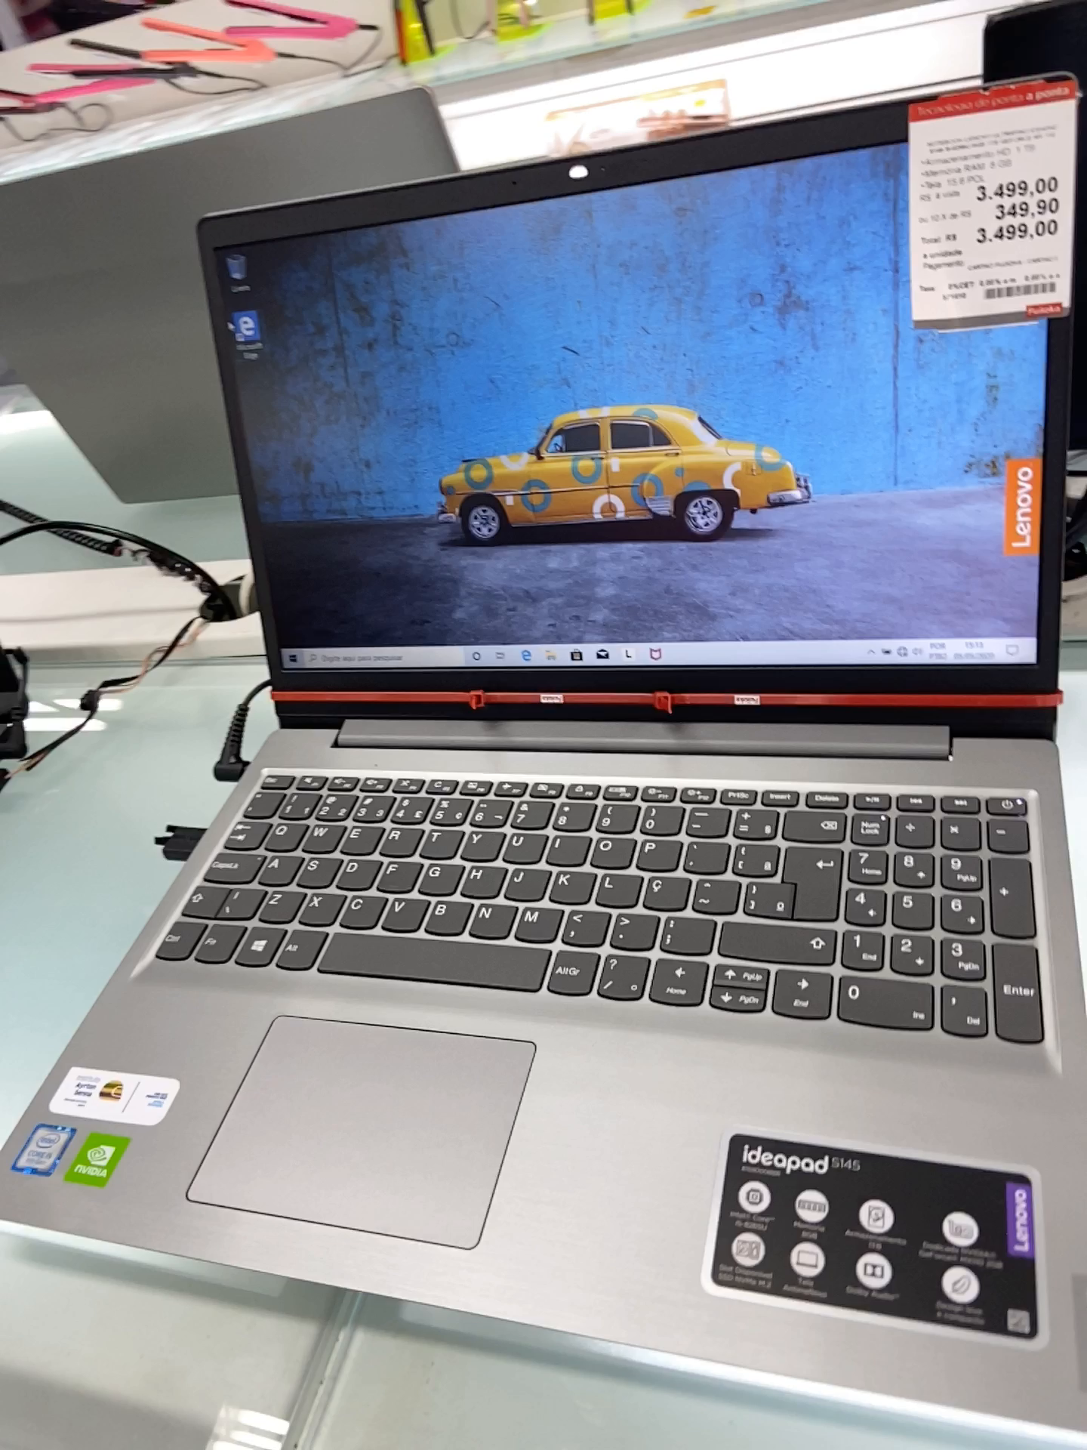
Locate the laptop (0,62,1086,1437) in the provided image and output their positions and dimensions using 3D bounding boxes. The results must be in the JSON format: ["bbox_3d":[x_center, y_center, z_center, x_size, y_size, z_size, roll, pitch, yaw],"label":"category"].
[{"bbox_3d":[-0.011,-0.030,0.387,0.364,0.214,0.353,0,41,20],"label":"laptop"}]
